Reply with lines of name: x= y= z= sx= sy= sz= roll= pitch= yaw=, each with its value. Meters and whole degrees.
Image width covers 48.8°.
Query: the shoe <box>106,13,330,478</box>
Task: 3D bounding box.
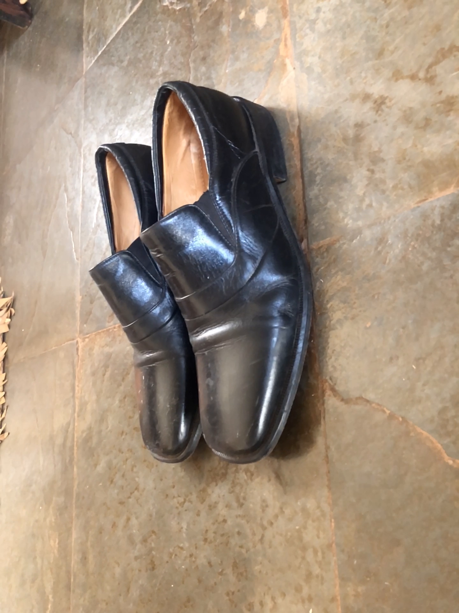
shoe: x=-0.010 y=-0.034 z=0.363 sx=0.100 sy=0.109 sz=0.280 roll=-15 pitch=72 yaw=49

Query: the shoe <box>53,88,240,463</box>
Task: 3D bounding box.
shoe: x=-0.072 y=-0.017 z=0.441 sx=0.110 sy=0.109 sz=0.280 roll=-16 pitch=71 yaw=49
